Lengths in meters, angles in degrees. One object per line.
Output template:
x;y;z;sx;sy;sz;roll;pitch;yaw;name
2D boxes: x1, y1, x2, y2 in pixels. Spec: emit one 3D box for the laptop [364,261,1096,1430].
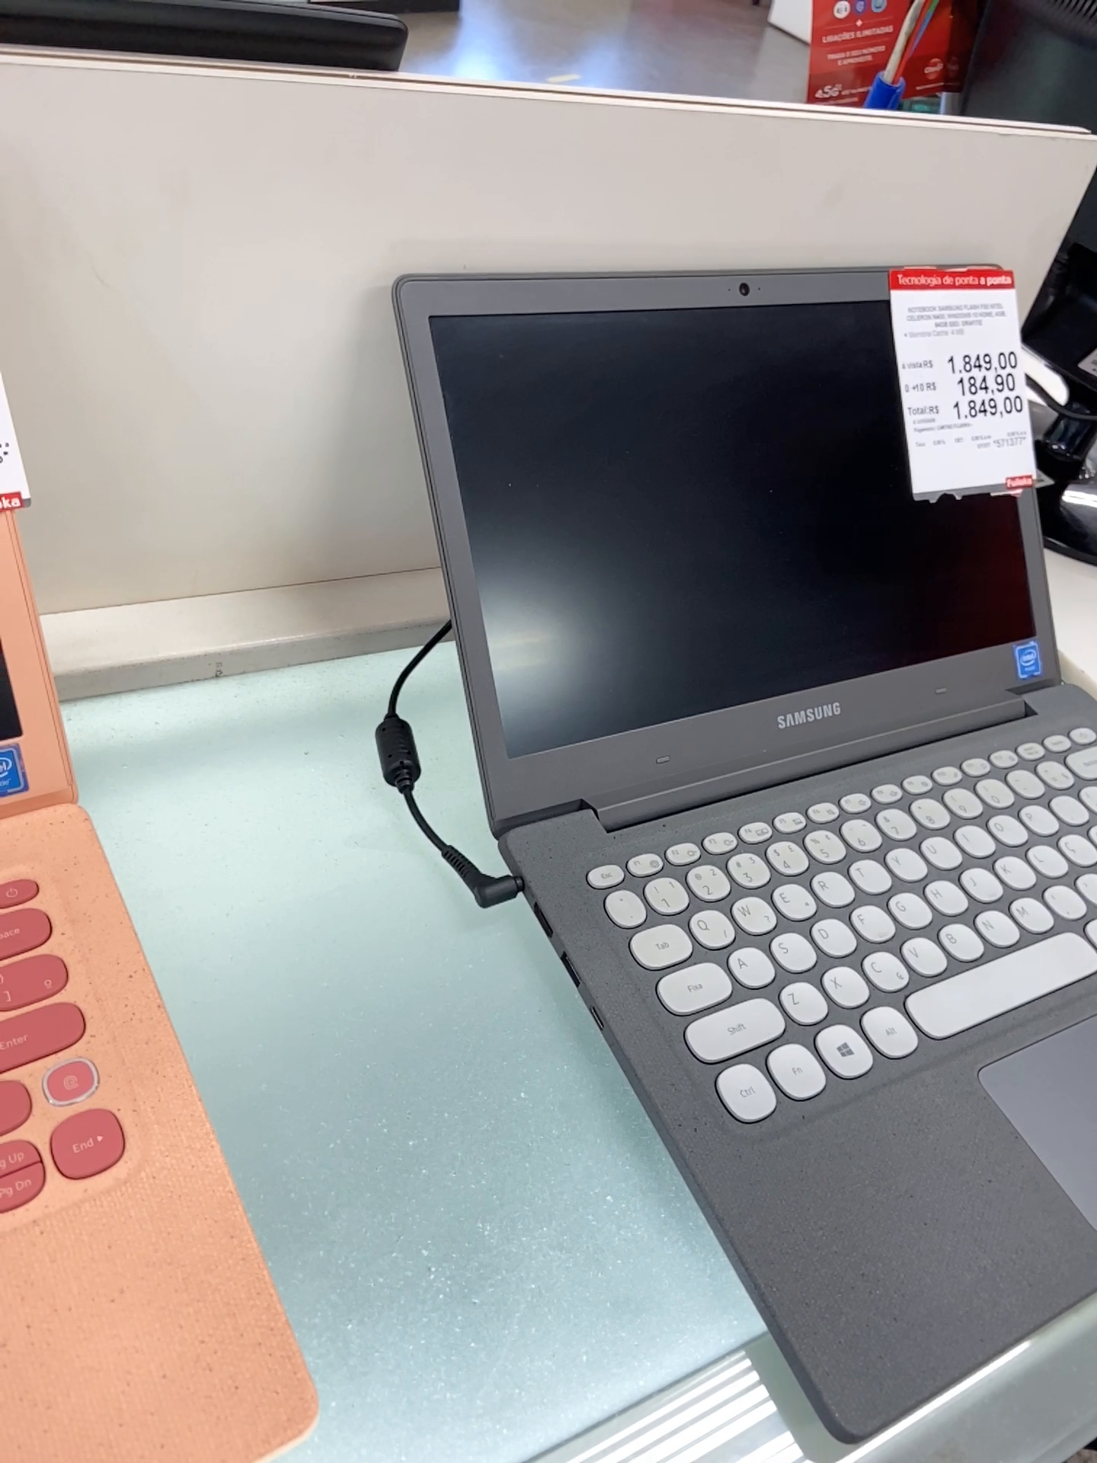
0.149;-0.025;0.427;0.320;0.144;0.365;-12;49;-26;laptop
